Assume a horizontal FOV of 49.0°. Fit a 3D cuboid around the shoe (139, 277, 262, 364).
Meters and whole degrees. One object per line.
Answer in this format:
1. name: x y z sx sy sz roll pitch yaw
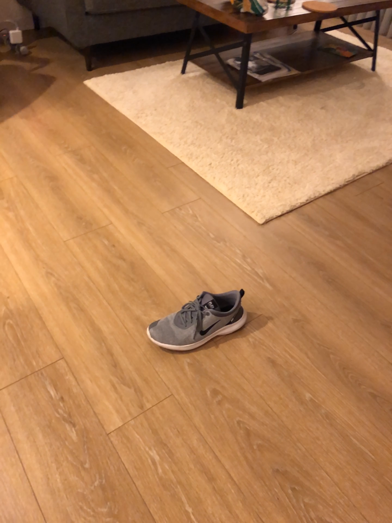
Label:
1. shoe: 0.009 0.157 1.186 0.300 0.090 0.141 -13 47 -17
